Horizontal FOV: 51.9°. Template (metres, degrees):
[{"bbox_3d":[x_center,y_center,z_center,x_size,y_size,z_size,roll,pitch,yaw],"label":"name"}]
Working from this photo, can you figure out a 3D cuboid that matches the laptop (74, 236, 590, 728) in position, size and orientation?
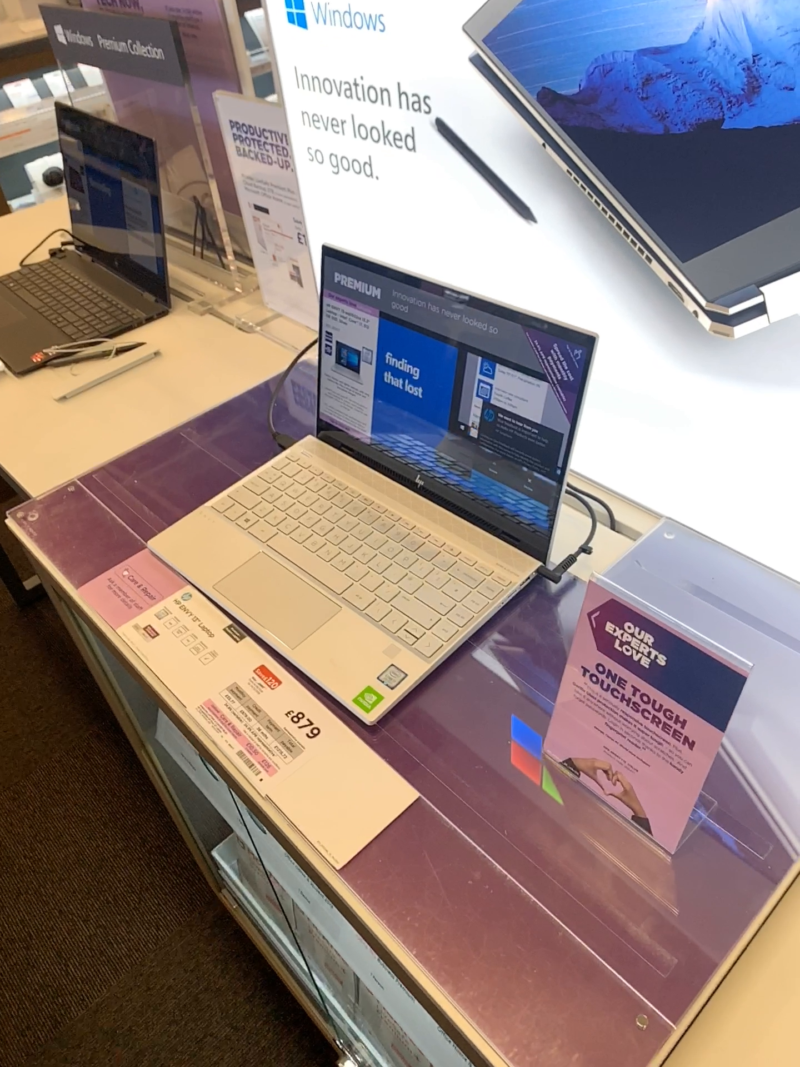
[{"bbox_3d":[-0.049,-0.068,0.666,0.296,0.181,0.261,31,55,34],"label":"laptop"}]

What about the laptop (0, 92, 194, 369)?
[{"bbox_3d":[-0.570,-0.487,1.288,0.313,0.236,0.300,-37,52,-28],"label":"laptop"}]
